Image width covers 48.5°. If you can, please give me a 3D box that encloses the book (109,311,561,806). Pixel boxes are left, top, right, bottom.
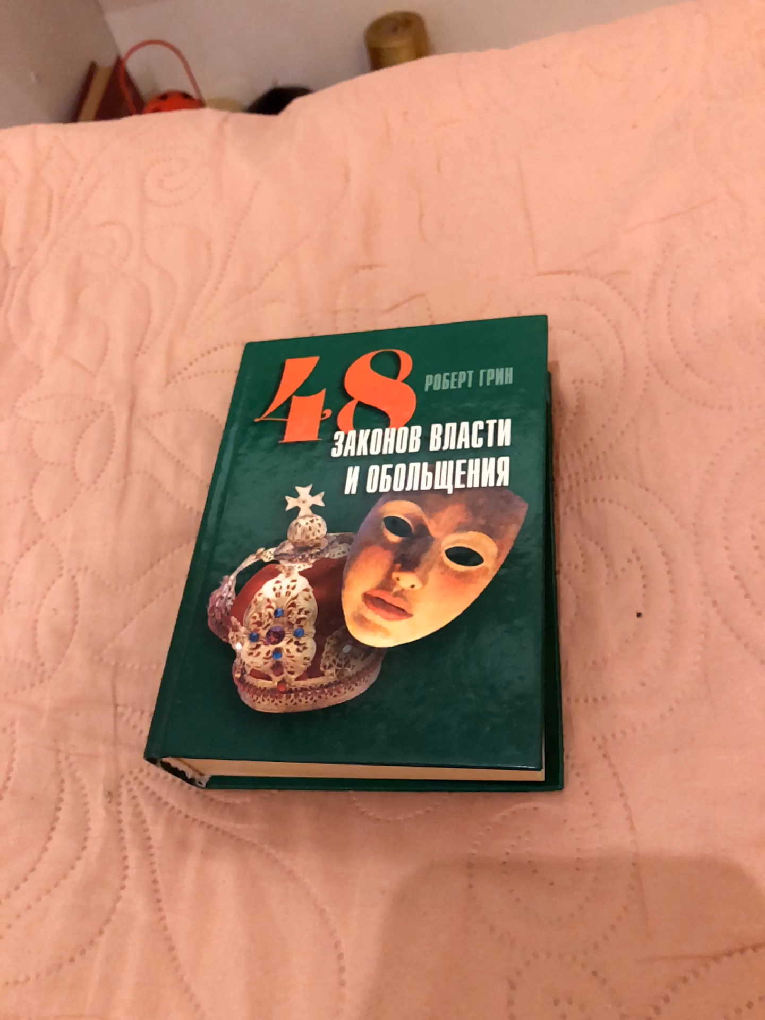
[{"bbox_3d":[-0.005,0.008,0.252,0.110,0.032,0.143,-2,56,12],"label":"book"}]
